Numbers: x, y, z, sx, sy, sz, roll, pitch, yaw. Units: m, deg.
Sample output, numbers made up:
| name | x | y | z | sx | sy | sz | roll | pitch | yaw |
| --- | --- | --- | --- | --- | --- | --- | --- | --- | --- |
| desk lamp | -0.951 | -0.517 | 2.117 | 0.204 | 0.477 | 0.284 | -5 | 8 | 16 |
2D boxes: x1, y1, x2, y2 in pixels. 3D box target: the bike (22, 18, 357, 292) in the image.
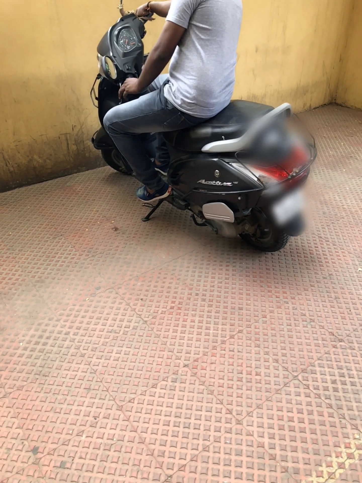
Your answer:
| name | x | y | z | sx | sy | sz | roll | pitch | yaw |
| --- | --- | --- | --- | --- | --- | --- | --- | --- | --- |
| bike | -0.082 | -0.609 | 2.167 | 0.696 | 1.016 | 1.547 | -27 | 40 | -35 |
